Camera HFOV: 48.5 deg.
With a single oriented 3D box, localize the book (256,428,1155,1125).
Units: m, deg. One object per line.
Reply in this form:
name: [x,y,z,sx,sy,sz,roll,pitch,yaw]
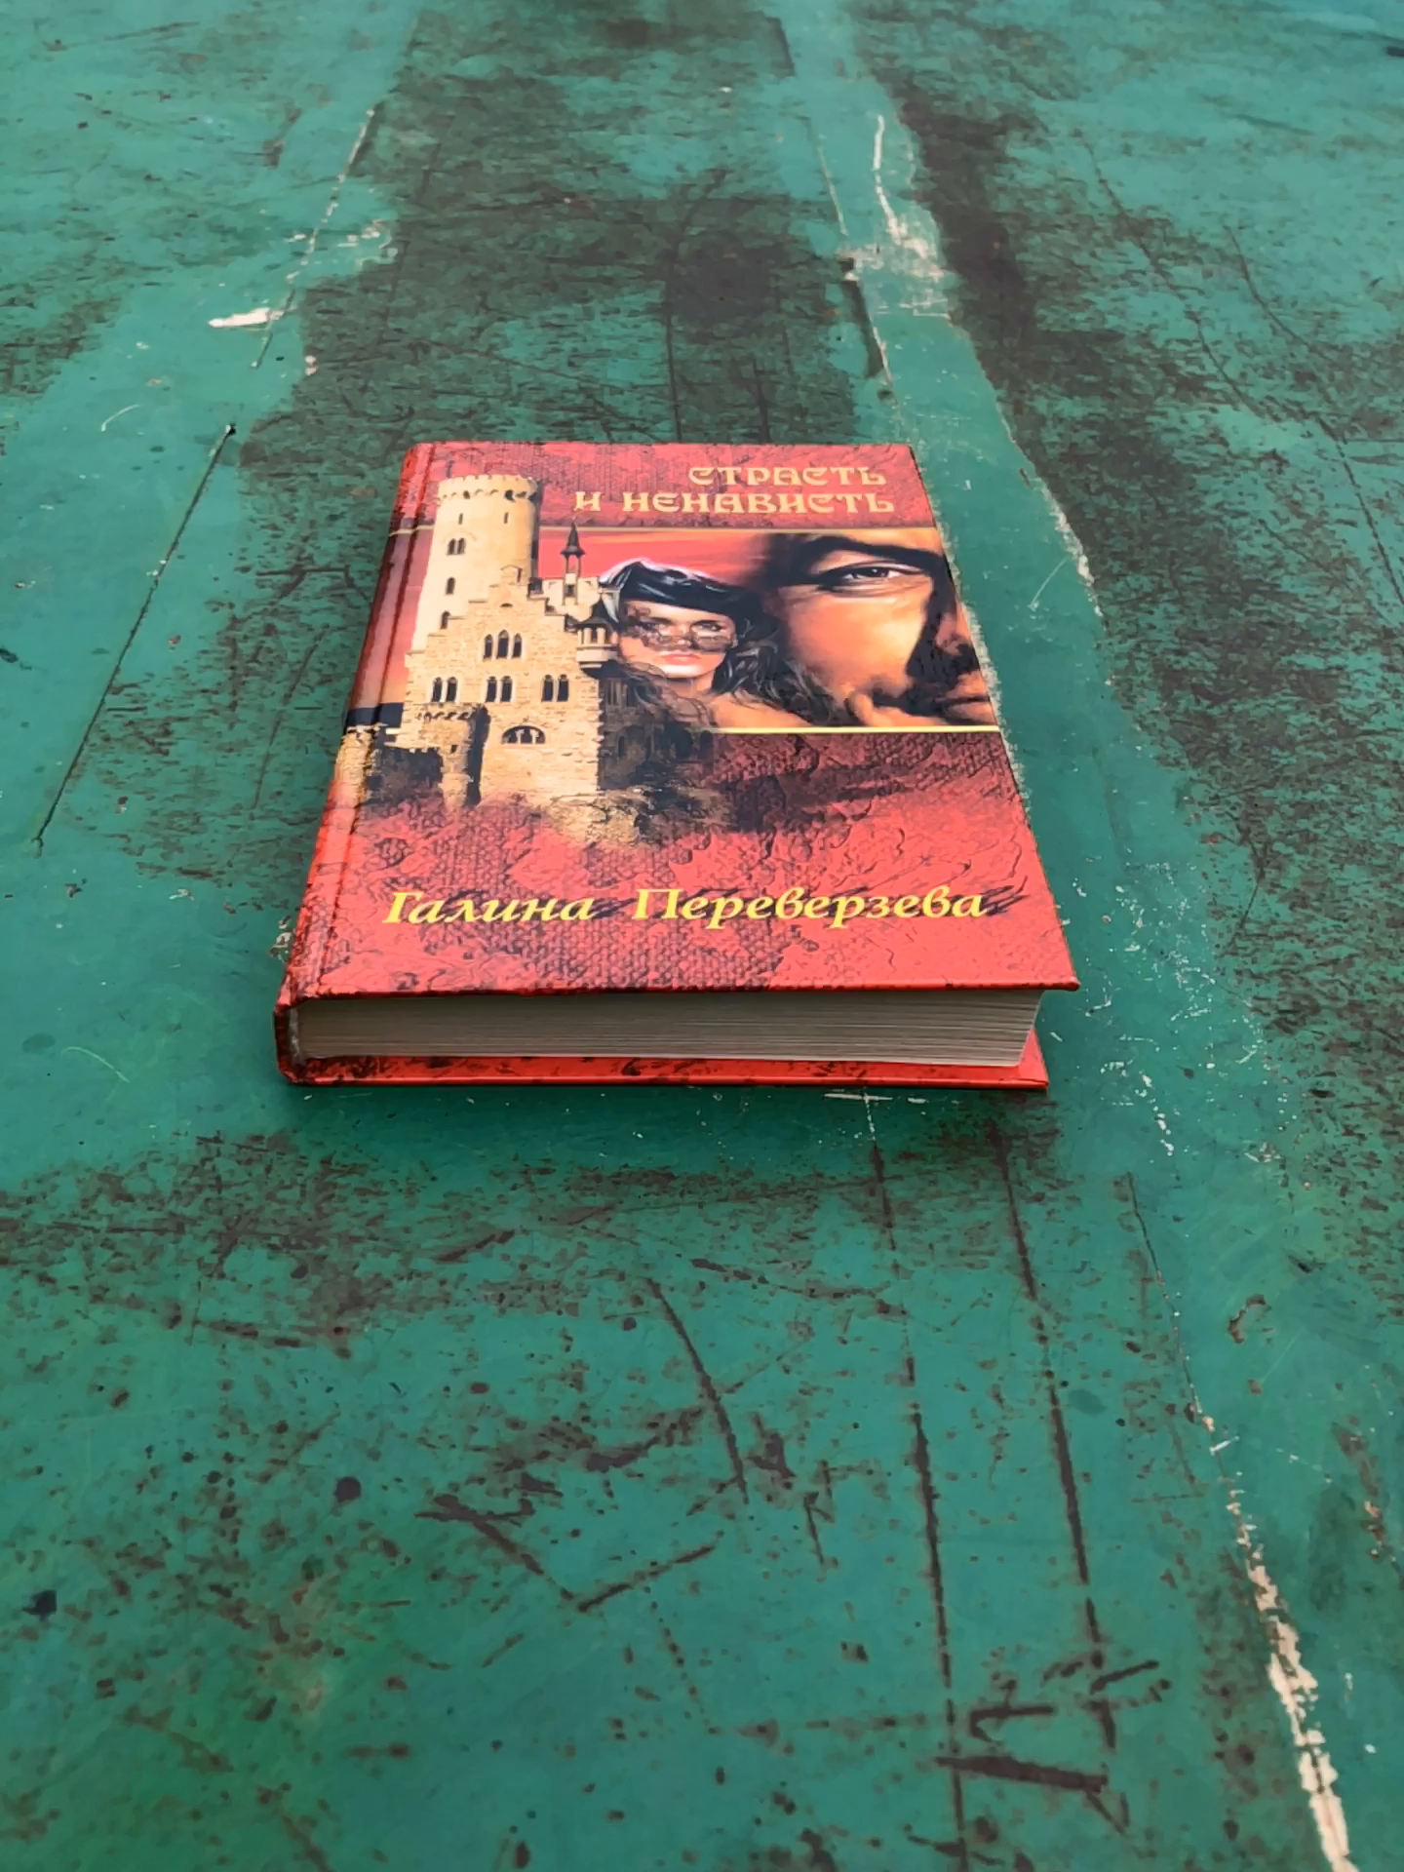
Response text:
book: [-0.003,-0.049,0.337,0.144,0.030,0.211,1,42,-4]
